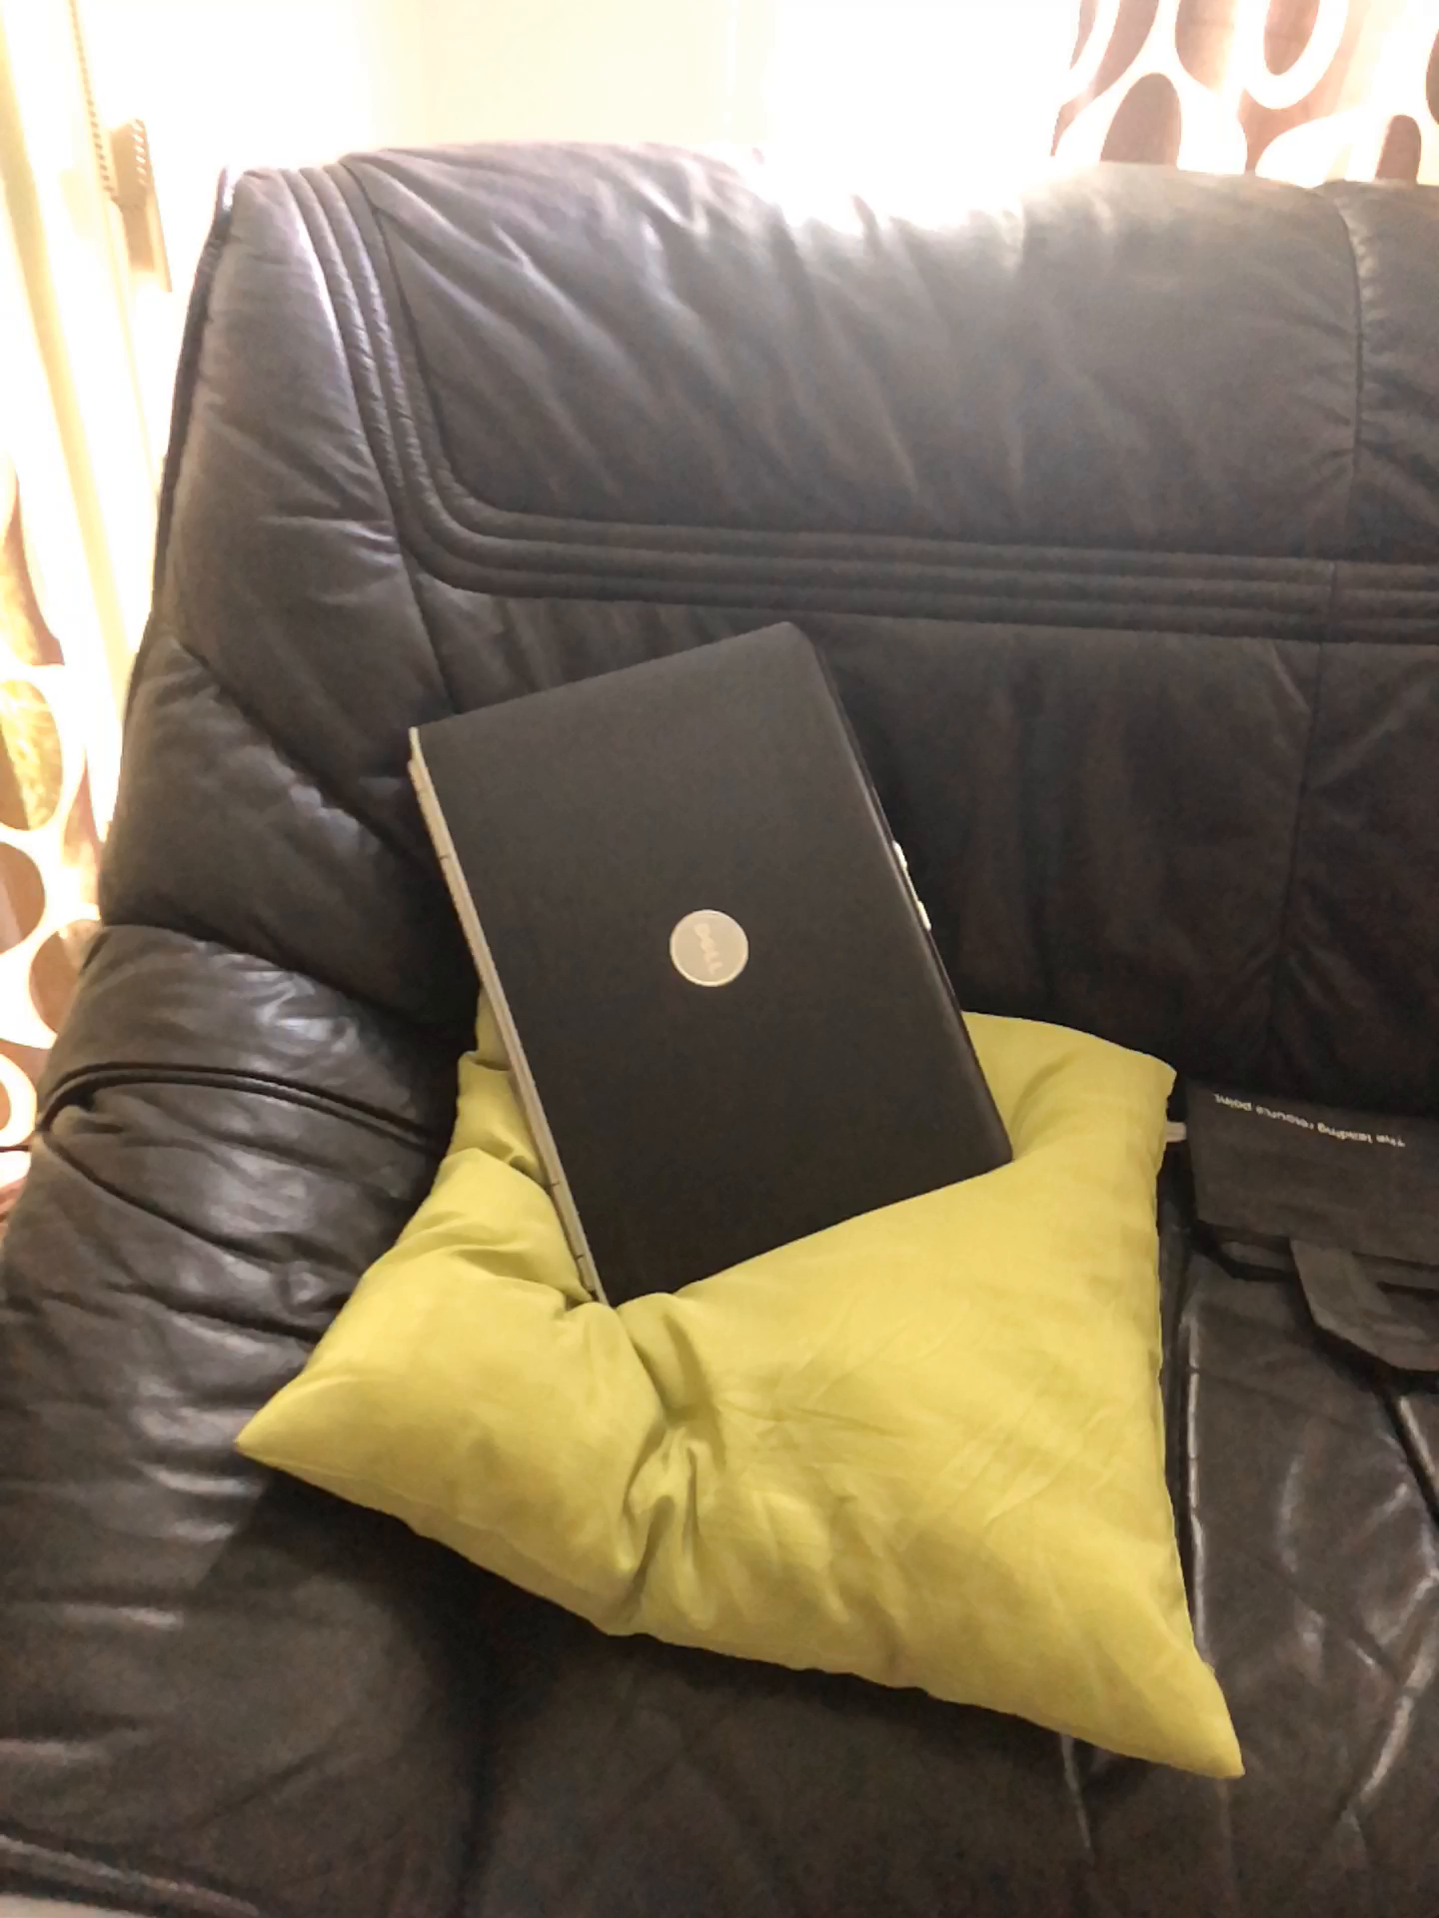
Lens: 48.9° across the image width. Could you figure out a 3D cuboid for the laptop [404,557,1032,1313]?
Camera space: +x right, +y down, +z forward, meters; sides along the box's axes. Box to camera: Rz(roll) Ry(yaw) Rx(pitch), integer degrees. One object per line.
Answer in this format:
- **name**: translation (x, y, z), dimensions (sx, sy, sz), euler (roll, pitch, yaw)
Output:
- **laptop**: translation (-0.003, -0.023, 0.888), dimensions (0.247, 0.033, 0.345), euler (-18, 79, -11)
